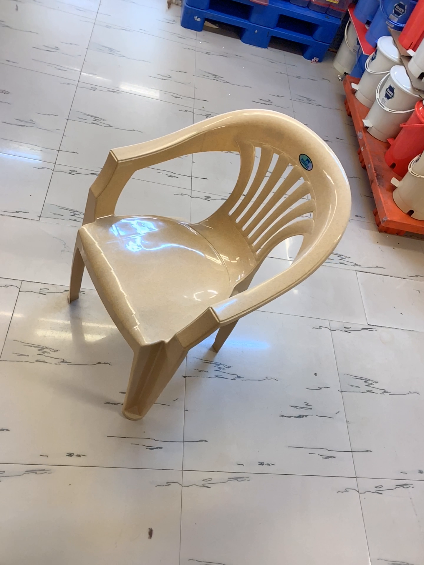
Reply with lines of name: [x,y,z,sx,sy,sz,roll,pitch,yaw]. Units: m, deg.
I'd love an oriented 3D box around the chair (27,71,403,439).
chair: [-0.072,-0.057,1.219,0.632,0.745,0.572,-20,66,-28]
